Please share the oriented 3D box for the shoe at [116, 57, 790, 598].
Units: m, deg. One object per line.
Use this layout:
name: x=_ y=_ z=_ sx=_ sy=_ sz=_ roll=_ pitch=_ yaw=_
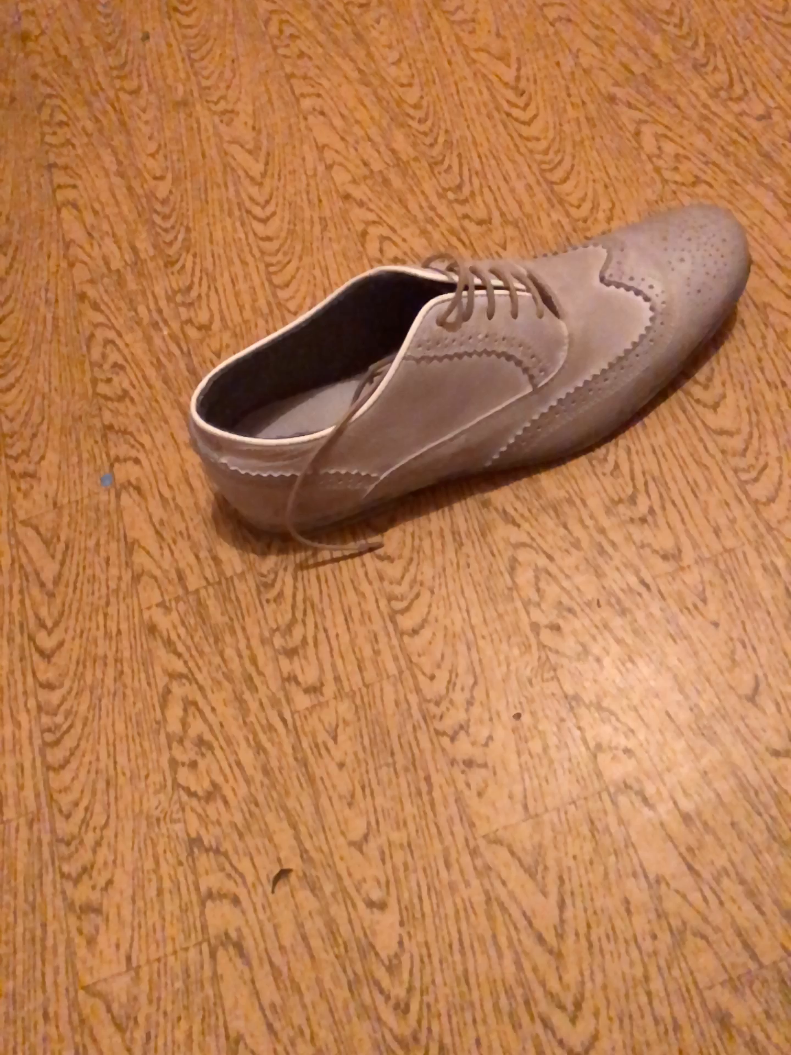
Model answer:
shoe: x=0.039 y=-0.093 z=0.426 sx=0.300 sy=0.110 sz=0.110 roll=-23 pitch=62 yaw=-3
